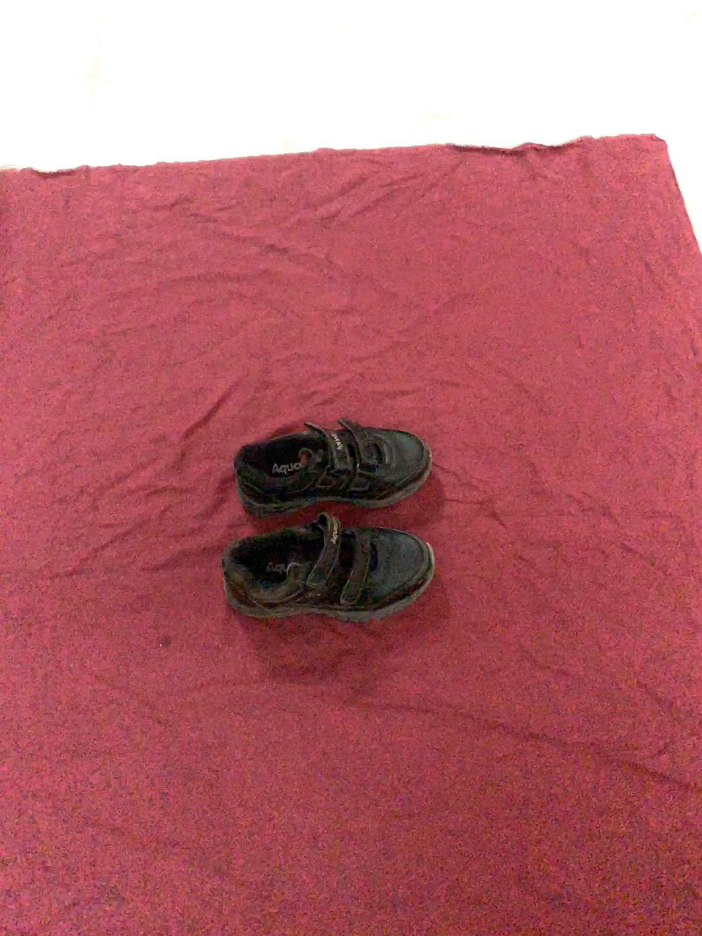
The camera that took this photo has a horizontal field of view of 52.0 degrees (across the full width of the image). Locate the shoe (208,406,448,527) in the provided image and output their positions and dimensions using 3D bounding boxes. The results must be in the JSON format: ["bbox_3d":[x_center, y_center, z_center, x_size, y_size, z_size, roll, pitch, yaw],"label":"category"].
[{"bbox_3d":[-0.022,0.000,0.682,0.210,0.070,0.070,-6,66,-2],"label":"shoe"}]

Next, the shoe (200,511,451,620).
[{"bbox_3d":[-0.023,0.089,0.649,0.210,0.070,0.070,-3,66,-1],"label":"shoe"}]
